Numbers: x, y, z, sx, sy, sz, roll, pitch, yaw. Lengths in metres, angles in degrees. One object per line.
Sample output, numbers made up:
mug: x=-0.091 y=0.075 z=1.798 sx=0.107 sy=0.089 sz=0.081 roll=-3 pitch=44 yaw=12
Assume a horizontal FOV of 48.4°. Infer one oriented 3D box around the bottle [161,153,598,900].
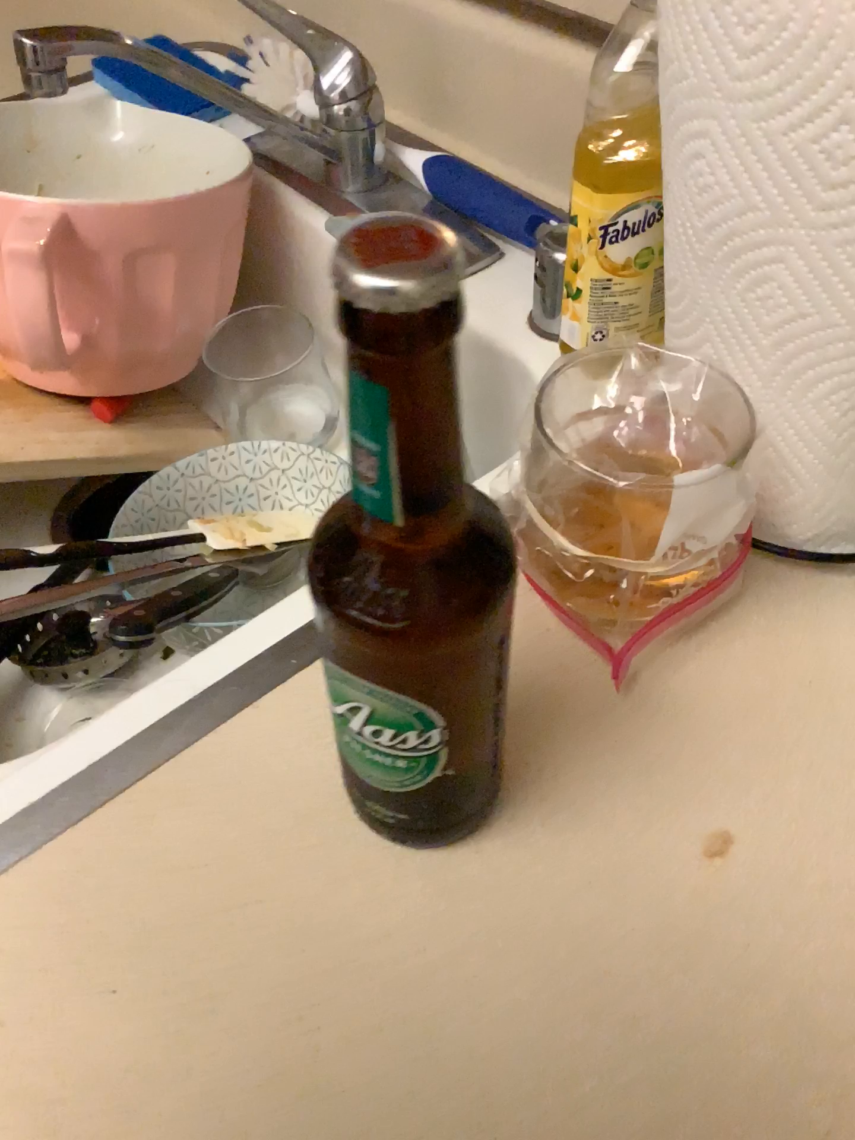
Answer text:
bottle: x=-0.006 y=0.009 z=0.284 sx=0.070 sy=0.230 sz=0.060 roll=22 pitch=53 yaw=20
